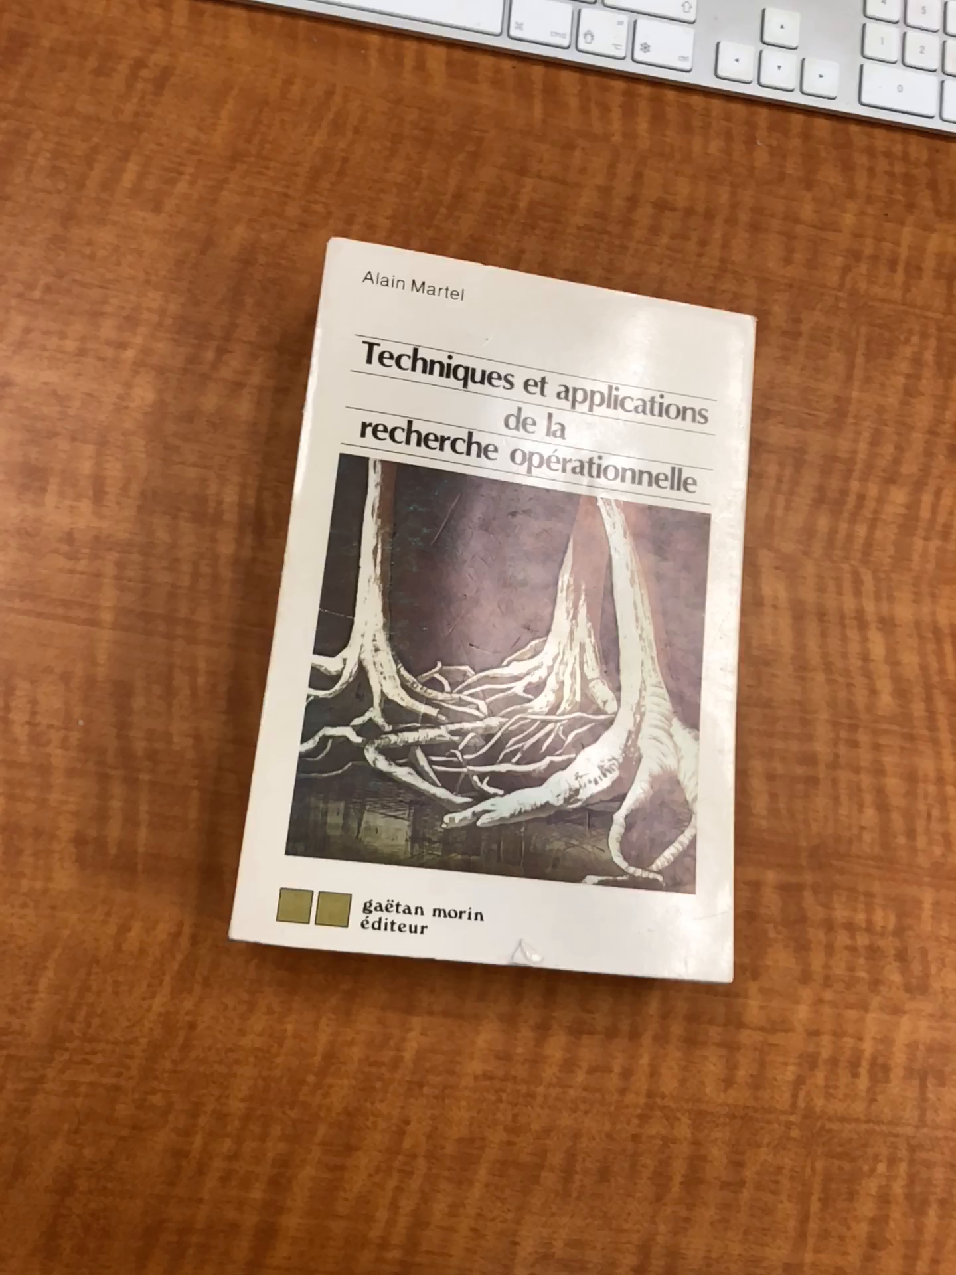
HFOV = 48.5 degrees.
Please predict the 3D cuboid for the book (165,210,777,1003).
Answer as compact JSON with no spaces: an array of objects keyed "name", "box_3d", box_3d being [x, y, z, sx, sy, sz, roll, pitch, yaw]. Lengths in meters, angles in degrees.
[{"name":"book","box_3d":[0.002,-0.007,0.363,0.170,0.070,0.230,8,78,-9]}]
